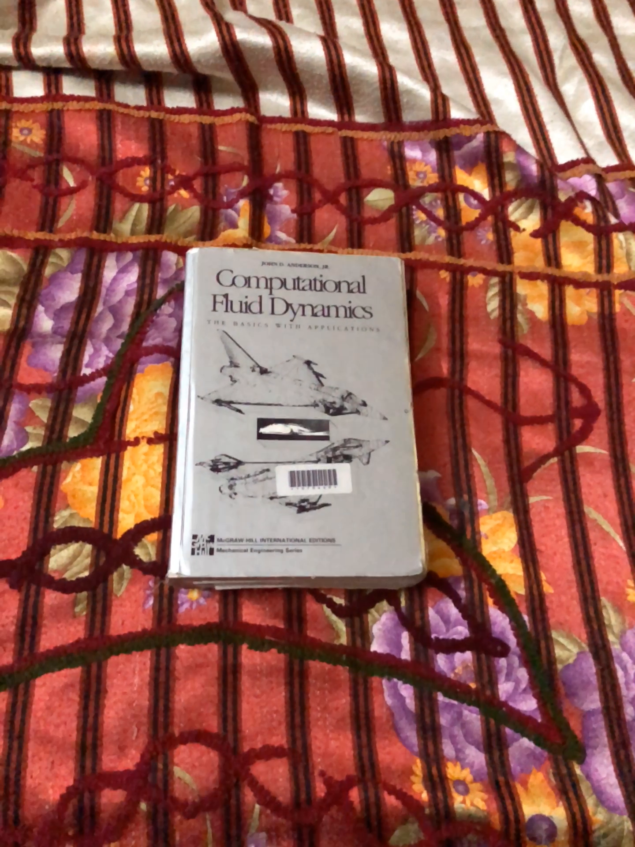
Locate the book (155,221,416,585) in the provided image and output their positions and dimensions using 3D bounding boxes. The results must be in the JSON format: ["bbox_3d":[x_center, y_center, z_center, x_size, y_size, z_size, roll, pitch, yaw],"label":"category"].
[{"bbox_3d":[-0.023,-0.016,0.502,0.160,0.060,0.250,1,70,-6],"label":"book"}]
